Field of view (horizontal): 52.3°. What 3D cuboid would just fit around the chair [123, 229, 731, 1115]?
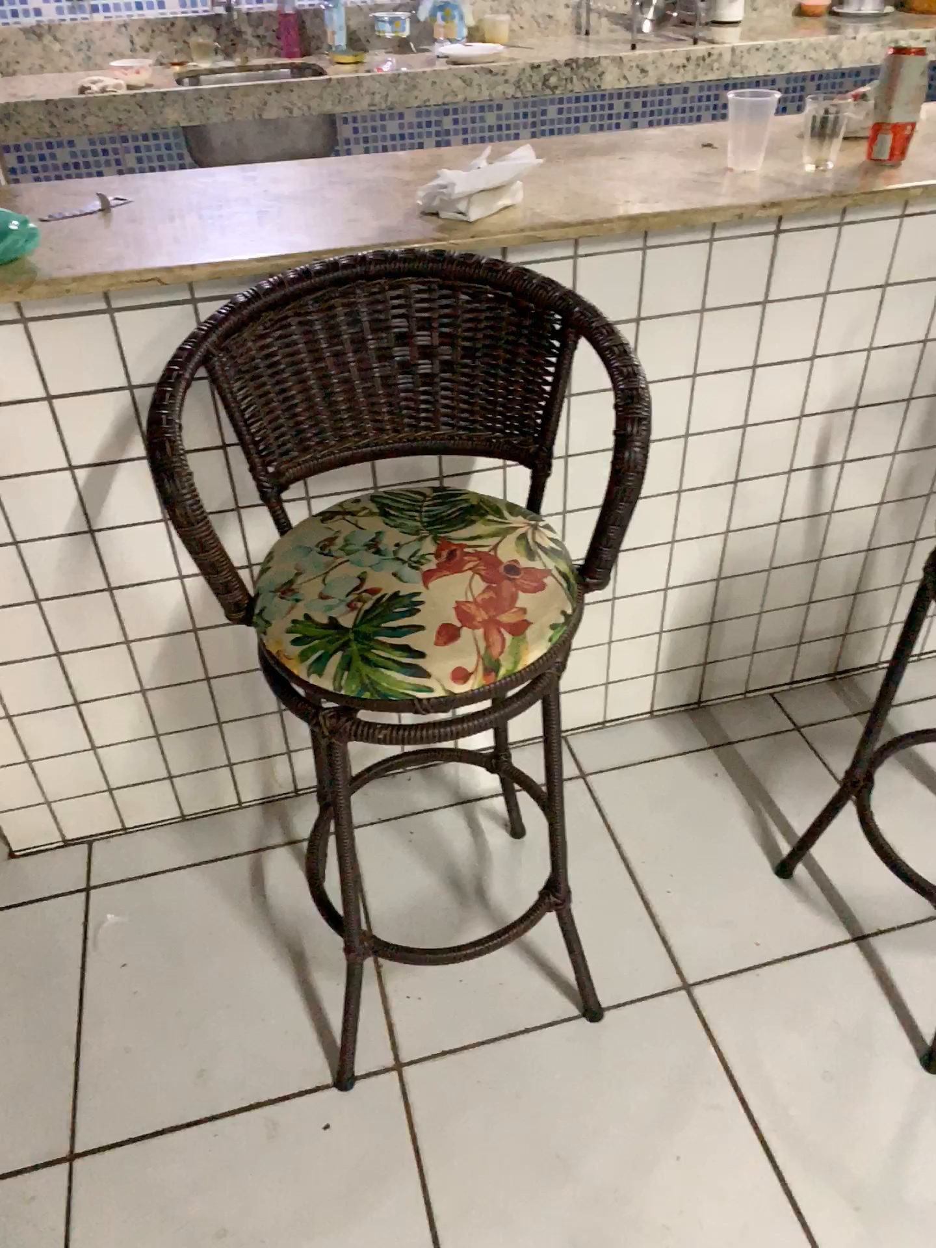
[{"bbox_3d":[-0.073,0.083,1.261,0.500,0.975,0.533,-11,38,-11],"label":"chair"}]
